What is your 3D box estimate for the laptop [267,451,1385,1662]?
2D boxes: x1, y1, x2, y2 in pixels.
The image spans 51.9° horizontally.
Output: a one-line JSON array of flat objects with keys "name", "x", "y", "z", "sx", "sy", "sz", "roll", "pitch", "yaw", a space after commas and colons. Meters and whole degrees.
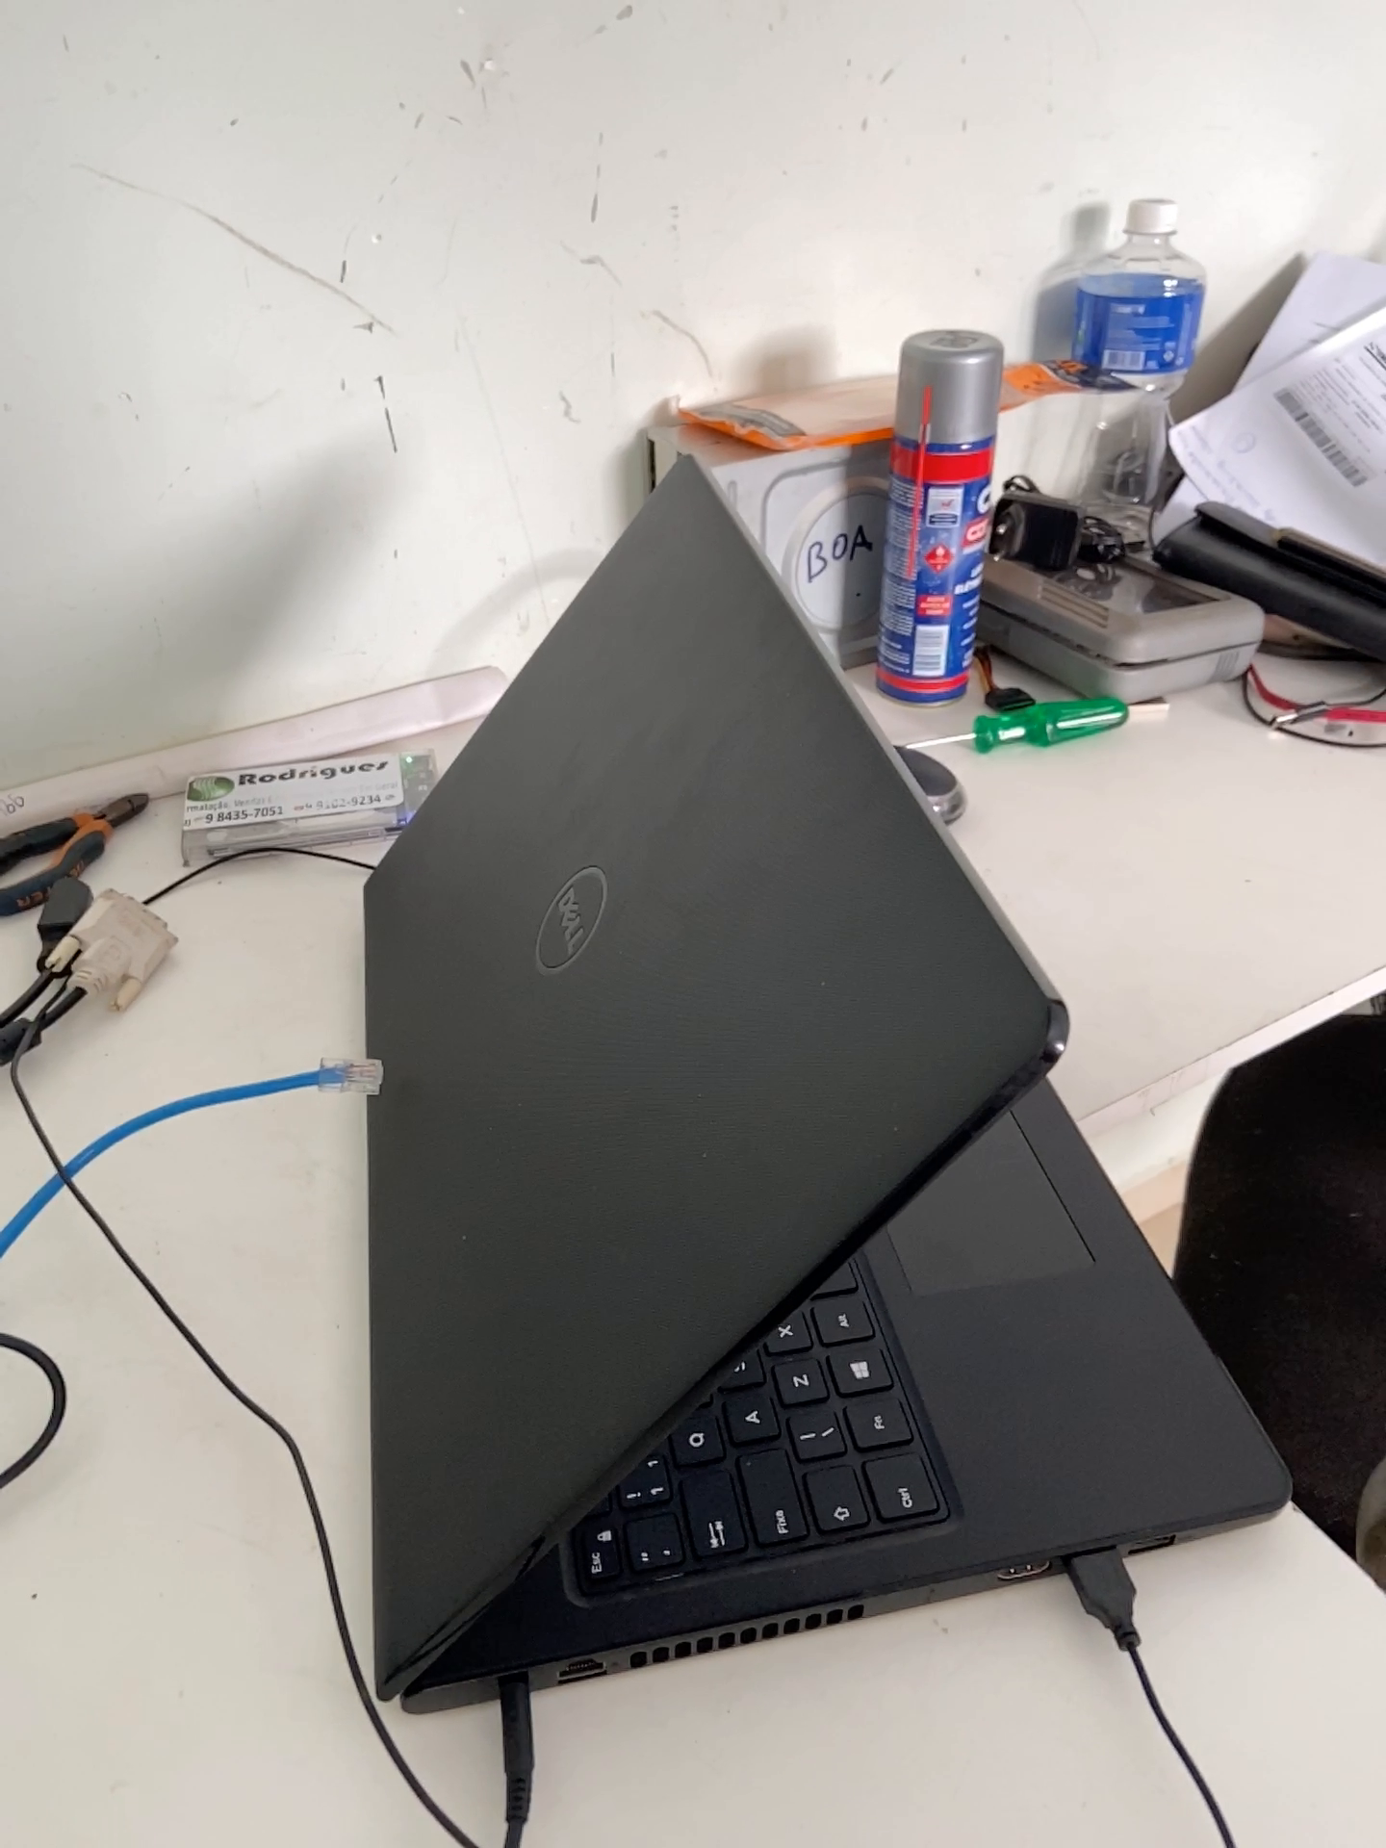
[{"name": "laptop", "x": 0.006, "y": -0.004, "z": 0.492, "sx": 0.255, "sy": 0.192, "sz": 0.374, "roll": -8, "pitch": 35, "yaw": -10}]
